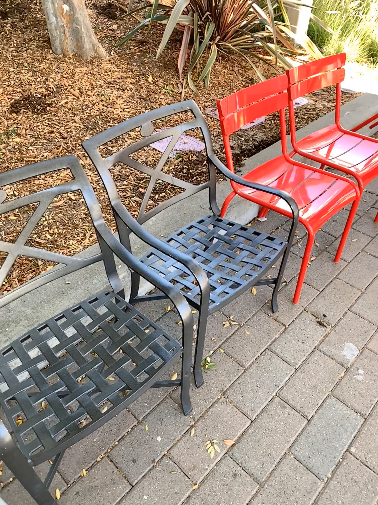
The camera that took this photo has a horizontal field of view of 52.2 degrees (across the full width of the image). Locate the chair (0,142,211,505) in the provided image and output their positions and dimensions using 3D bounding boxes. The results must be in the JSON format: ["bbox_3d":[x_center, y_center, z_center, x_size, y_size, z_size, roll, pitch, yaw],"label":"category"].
[{"bbox_3d":[-0.414,0.248,1.203,0.693,0.815,0.621,33,51,31],"label":"chair"}]

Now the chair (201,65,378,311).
[{"bbox_3d":[0.512,-0.331,1.857,0.643,0.815,0.621,33,51,31],"label":"chair"}]

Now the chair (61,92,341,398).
[{"bbox_3d":[0.030,-0.061,1.549,0.693,0.815,0.621,33,51,31],"label":"chair"}]
